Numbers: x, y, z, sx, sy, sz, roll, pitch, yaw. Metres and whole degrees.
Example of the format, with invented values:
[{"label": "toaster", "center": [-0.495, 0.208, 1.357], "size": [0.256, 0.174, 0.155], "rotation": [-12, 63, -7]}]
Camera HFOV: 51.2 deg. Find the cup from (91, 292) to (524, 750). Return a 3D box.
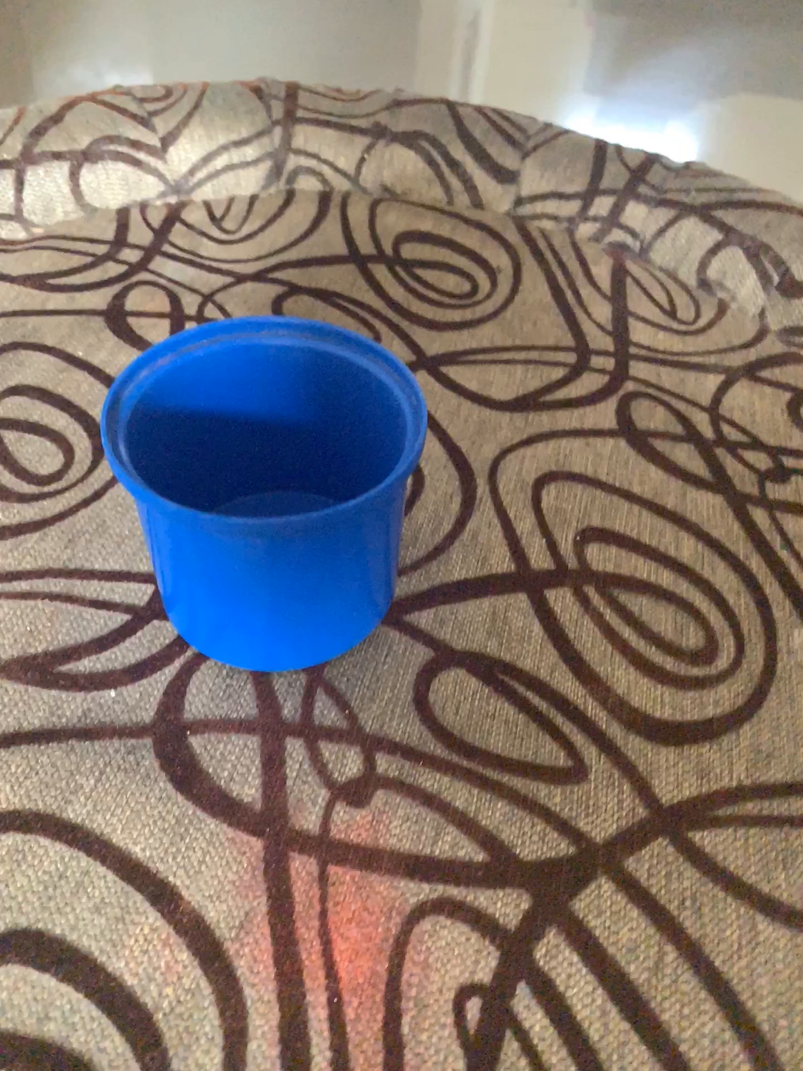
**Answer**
[{"label": "cup", "center": [-0.028, -0.007, 0.225], "size": [0.080, 0.069, 0.080], "rotation": [3, 46, -3]}]
